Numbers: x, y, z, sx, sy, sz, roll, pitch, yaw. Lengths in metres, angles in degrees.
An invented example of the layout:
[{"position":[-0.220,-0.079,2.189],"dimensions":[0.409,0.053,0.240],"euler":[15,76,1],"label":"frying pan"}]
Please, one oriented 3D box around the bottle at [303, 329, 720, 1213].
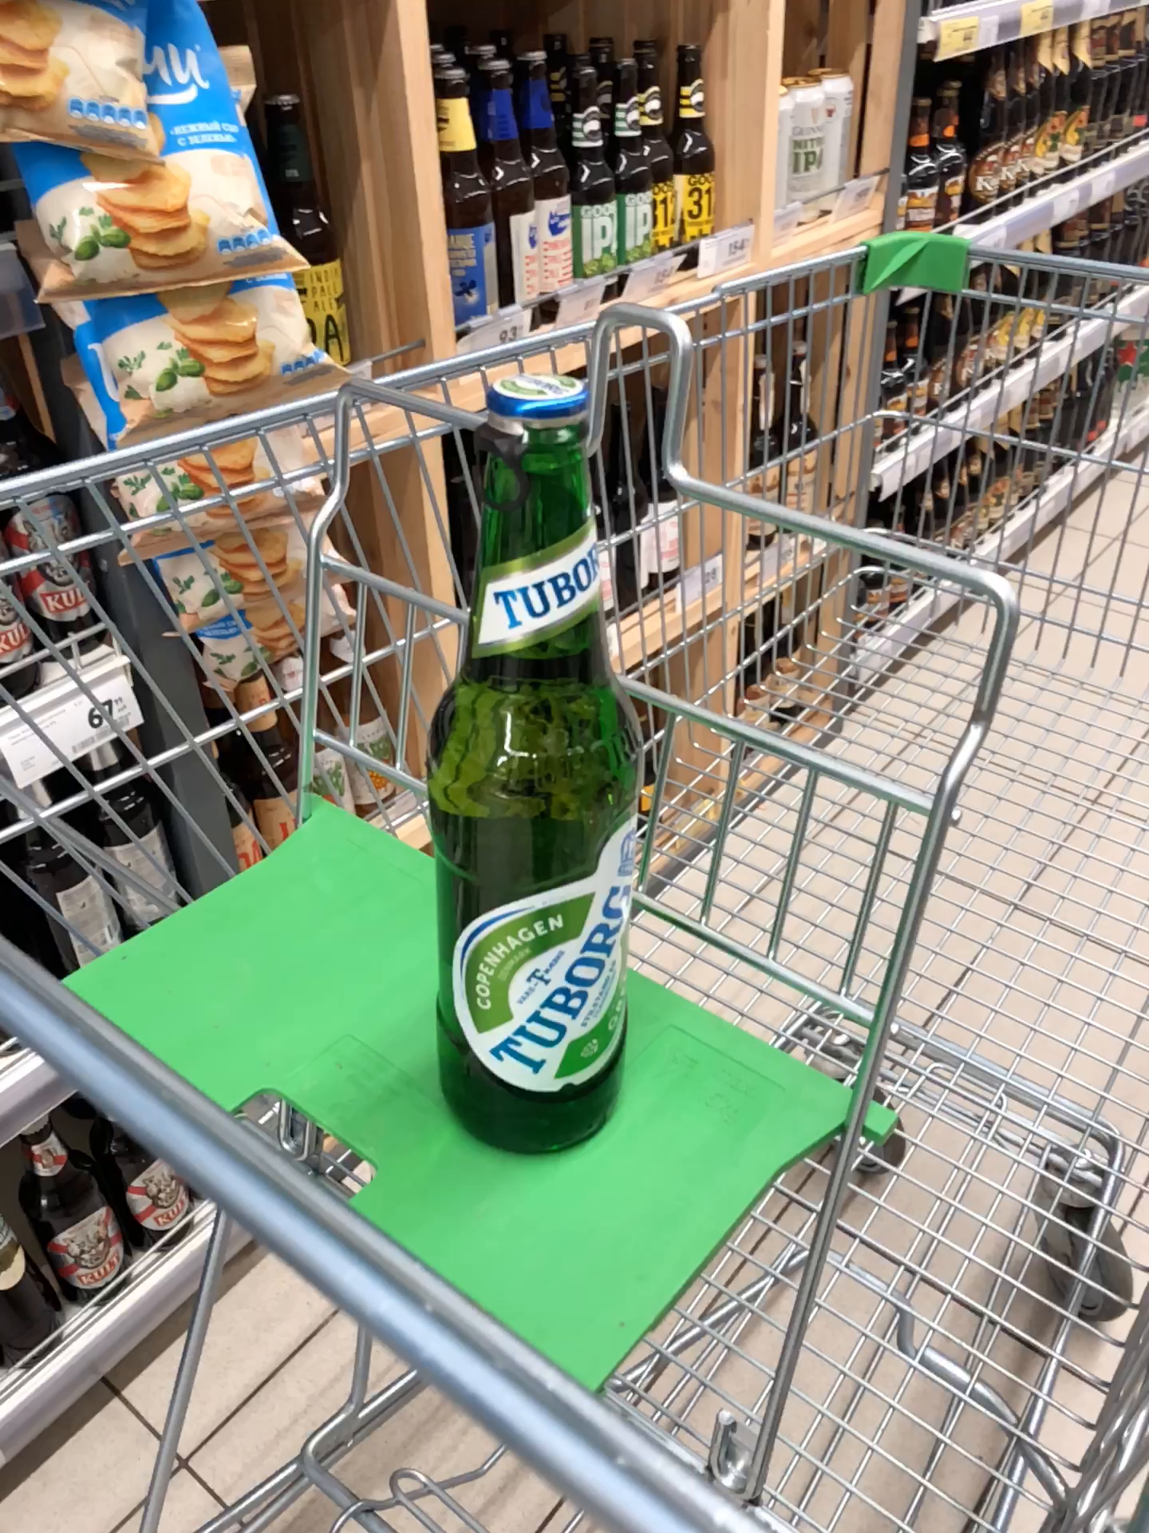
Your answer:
[{"position":[-0.017,0.013,0.383],"dimensions":[0.080,0.259,0.070],"euler":[-16,38,-22],"label":"bottle"}]
